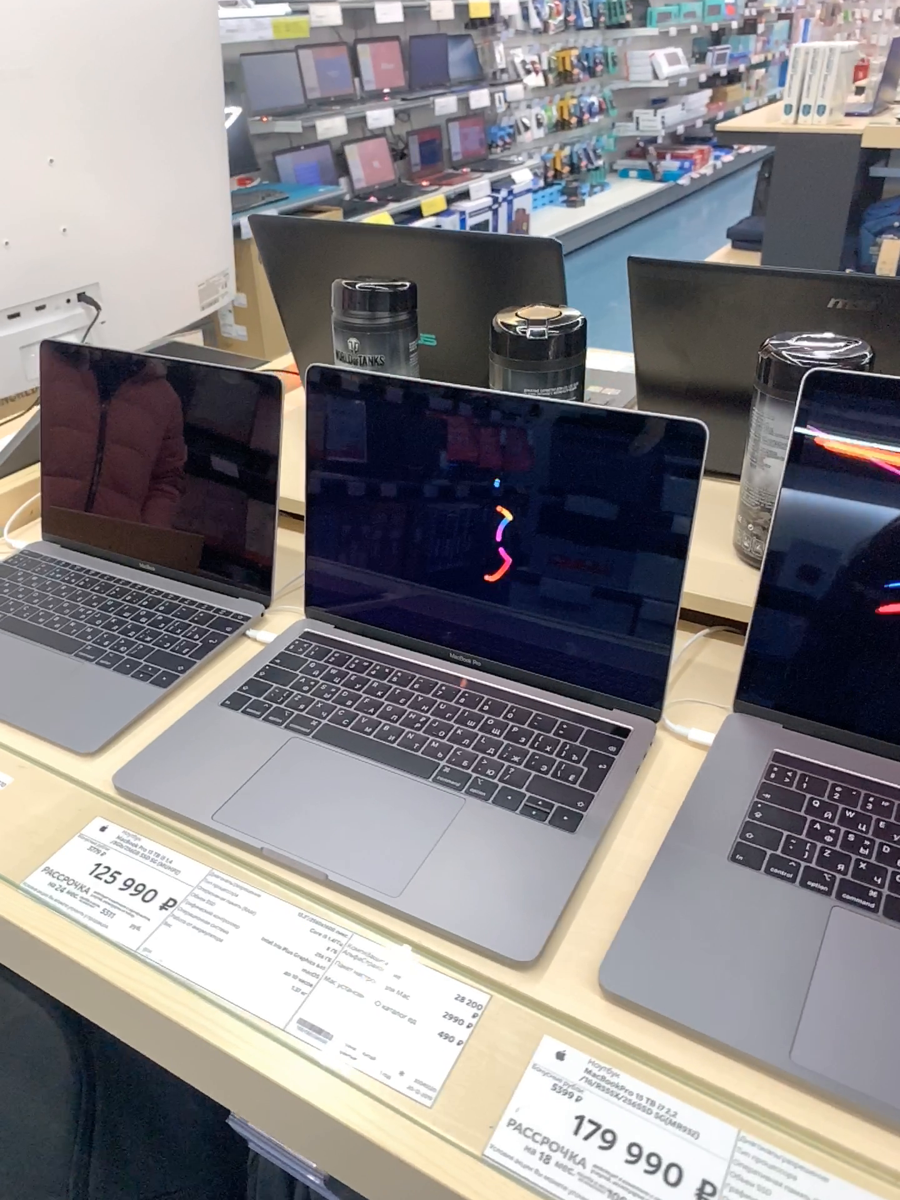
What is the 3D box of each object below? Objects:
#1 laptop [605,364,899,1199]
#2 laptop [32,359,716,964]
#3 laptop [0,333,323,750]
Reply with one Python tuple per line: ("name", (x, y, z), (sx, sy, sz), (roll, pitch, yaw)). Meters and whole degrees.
("laptop", (0.305, 0.060, 0.438), (0.347, 0.210, 0.328), (15, 36, 27))
("laptop", (-0.028, 0.003, 0.576), (0.299, 0.195, 0.261), (15, 36, 25))
("laptop", (-0.302, -0.071, 0.733), (0.280, 0.172, 0.266), (14, 37, 25))
